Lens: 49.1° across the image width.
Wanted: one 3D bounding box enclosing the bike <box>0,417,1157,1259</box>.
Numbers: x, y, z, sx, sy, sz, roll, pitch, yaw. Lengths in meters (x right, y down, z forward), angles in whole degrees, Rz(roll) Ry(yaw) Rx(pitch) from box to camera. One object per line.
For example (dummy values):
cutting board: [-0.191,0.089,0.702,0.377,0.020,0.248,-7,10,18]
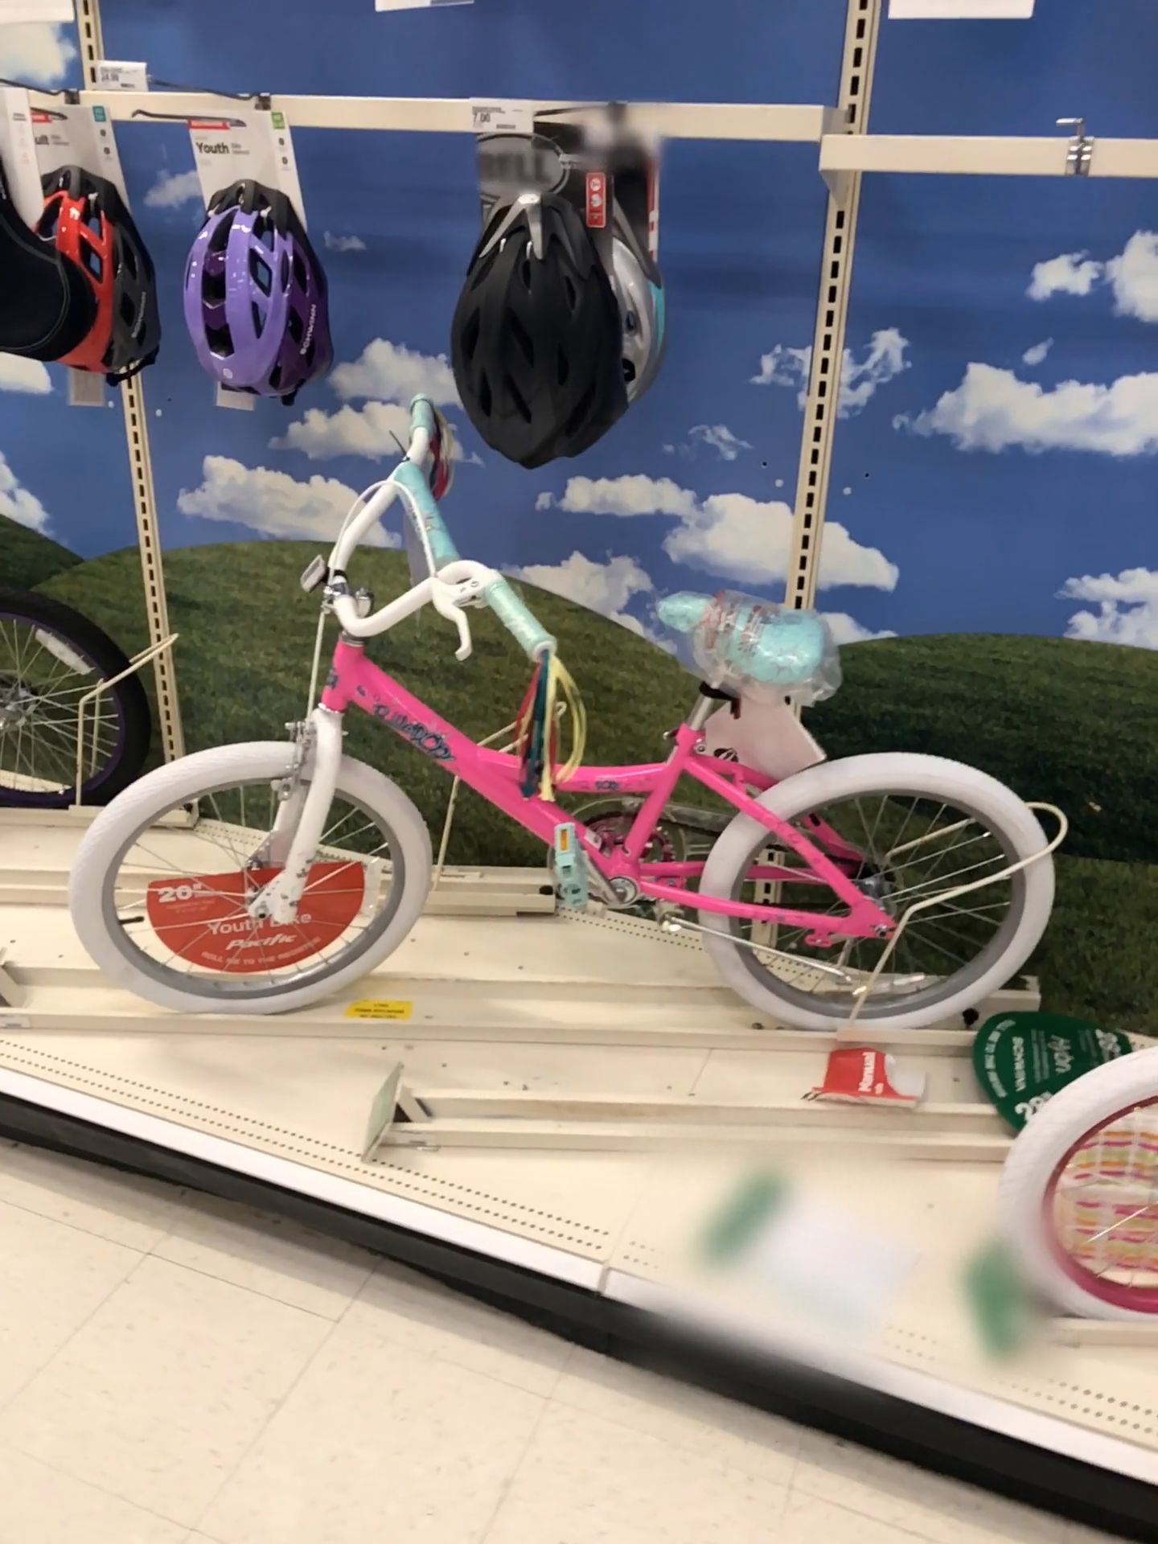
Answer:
bike: [-0.005,0.044,1.732,1.346,0.882,0.730,0,25,0]
